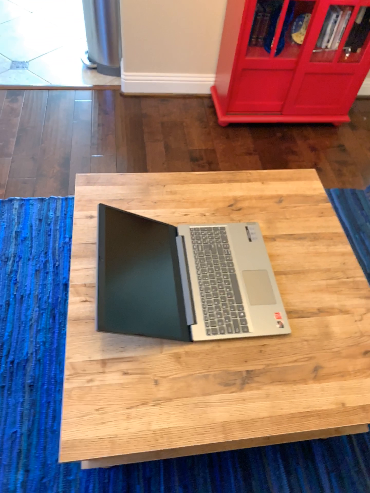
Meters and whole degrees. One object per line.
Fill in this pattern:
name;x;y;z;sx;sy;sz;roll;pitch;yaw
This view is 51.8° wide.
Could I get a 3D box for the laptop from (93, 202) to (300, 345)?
laptop;0.011;0.053;0.968;0.460;0.099;0.347;-1;54;-11
